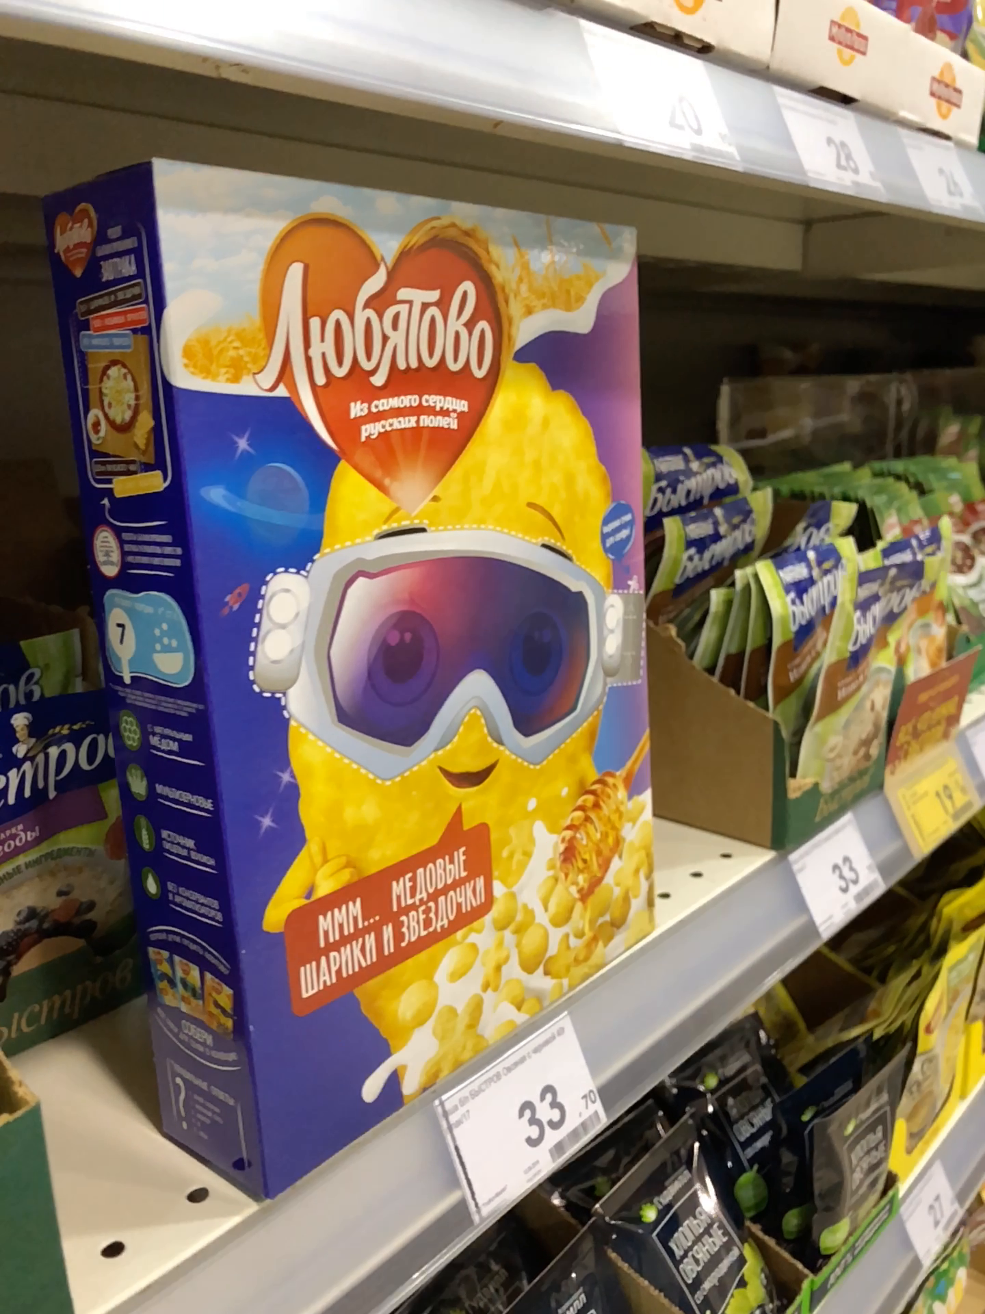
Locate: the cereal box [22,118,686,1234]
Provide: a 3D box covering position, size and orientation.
[{"bbox_3d":[-0.017,-0.005,0.335,0.050,0.259,0.201,7,16,41],"label":"cereal box"}]
